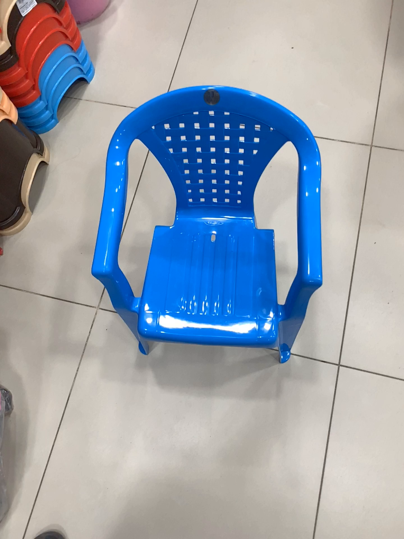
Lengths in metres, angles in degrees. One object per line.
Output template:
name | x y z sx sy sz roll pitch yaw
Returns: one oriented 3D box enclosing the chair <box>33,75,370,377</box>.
chair | 0.027 -0.018 0.737 0.370 0.500 0.340 4 72 6
